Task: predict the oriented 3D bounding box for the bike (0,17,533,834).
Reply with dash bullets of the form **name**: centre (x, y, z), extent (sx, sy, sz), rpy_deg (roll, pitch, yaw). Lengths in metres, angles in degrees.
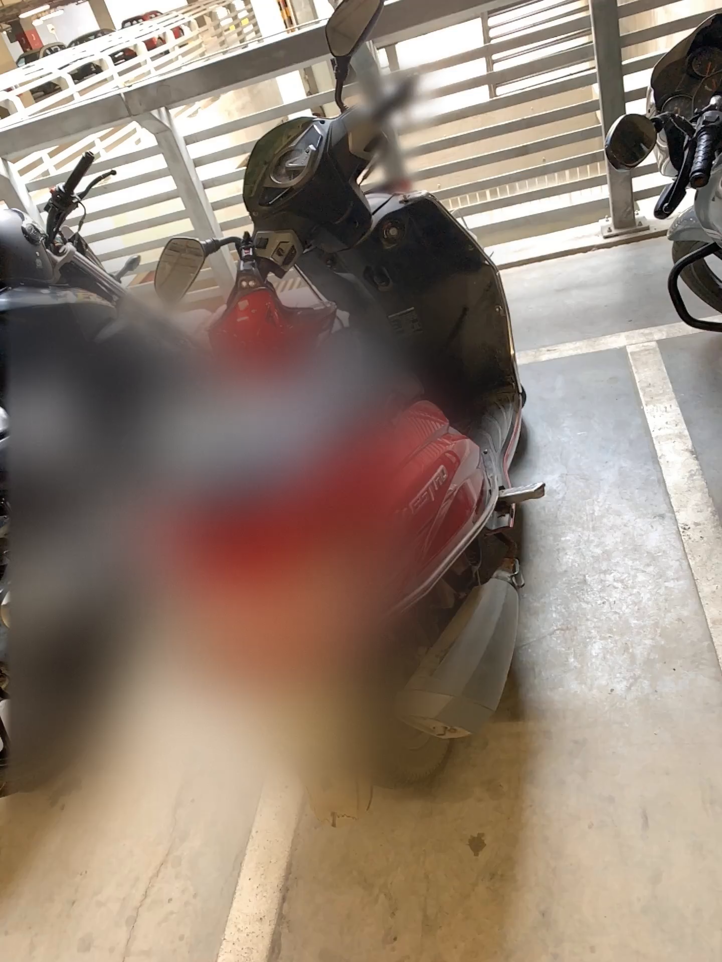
- **bike**: centre (-0.053, -0.304, 1.930), extent (0.725, 1.164, 1.857), rpy_deg (-8, 37, 16)
